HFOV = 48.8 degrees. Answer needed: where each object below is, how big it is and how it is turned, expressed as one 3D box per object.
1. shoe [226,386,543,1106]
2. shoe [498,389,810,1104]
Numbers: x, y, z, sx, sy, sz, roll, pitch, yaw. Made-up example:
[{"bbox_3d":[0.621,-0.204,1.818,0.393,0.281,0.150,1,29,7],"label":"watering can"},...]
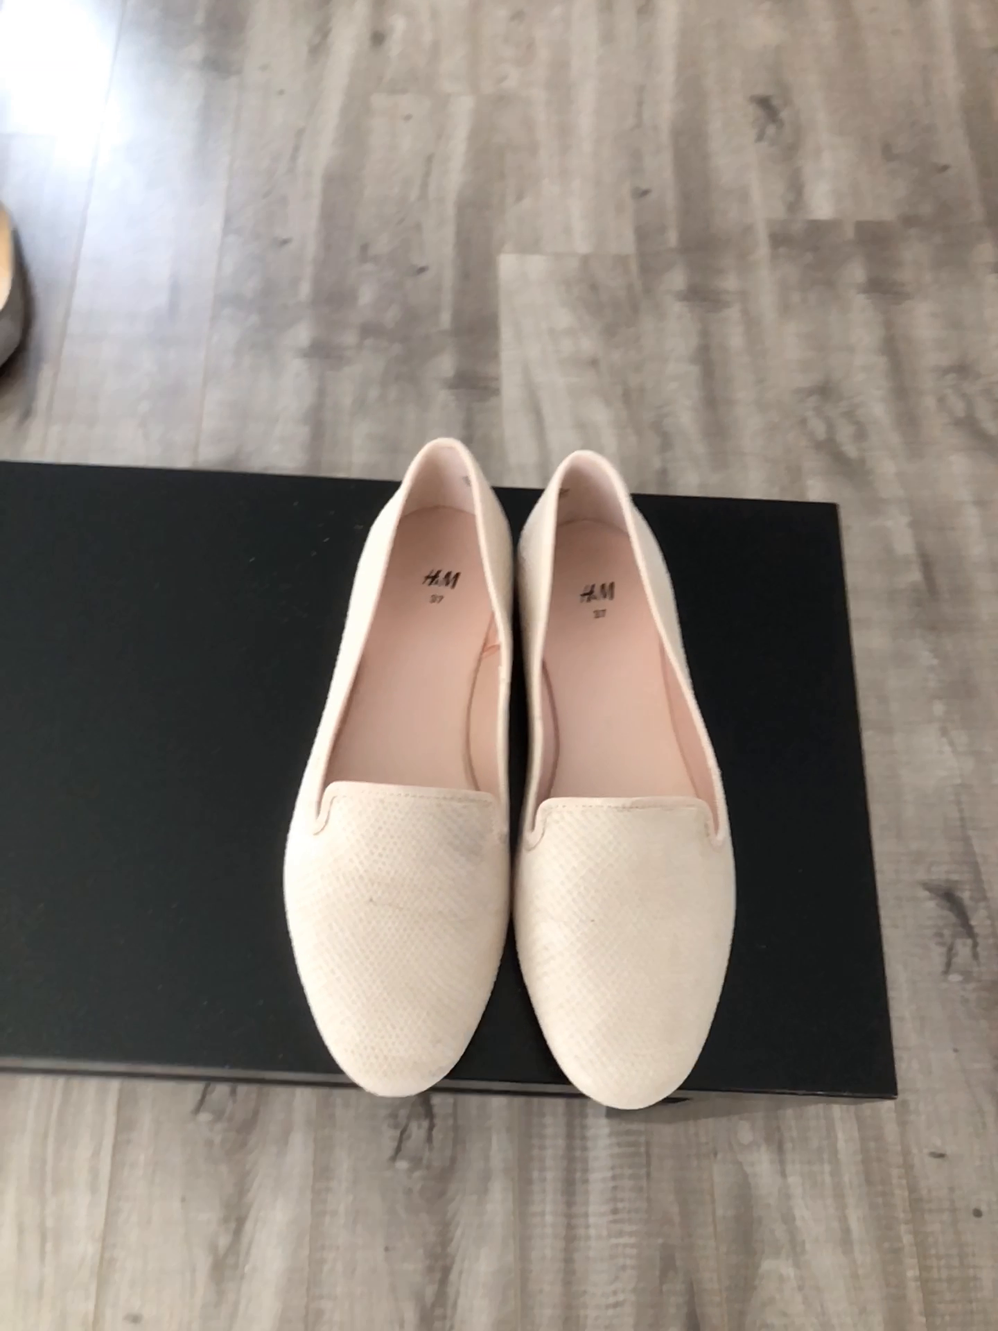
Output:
[{"bbox_3d":[-0.034,0.023,0.416,0.090,0.070,0.259,3,65,-1],"label":"shoe"},{"bbox_3d":[0.047,0.023,0.415,0.080,0.070,0.259,-1,65,-3],"label":"shoe"}]
